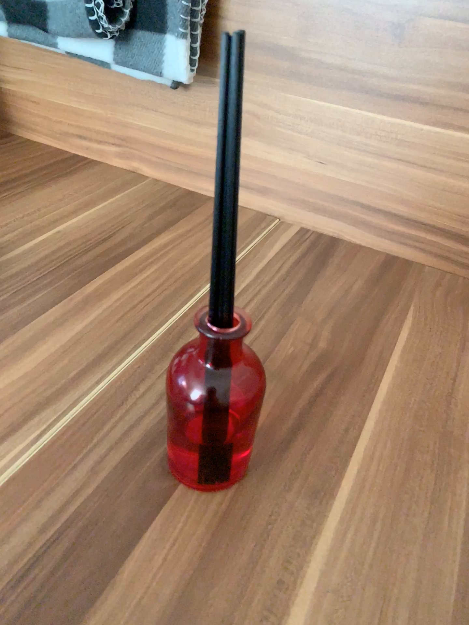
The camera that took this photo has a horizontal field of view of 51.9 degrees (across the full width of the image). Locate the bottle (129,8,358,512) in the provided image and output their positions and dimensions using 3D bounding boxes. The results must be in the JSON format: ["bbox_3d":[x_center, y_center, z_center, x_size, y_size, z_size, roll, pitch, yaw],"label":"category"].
[{"bbox_3d":[-0.007,-0.003,0.234,0.060,0.239,0.050,25,41,22],"label":"bottle"}]
